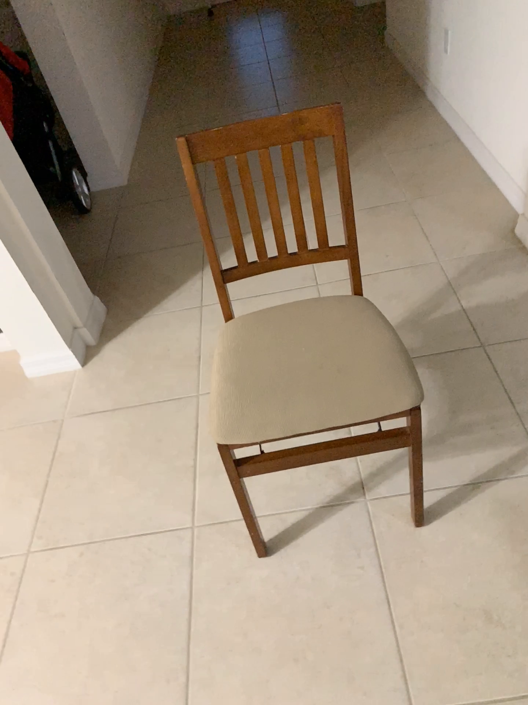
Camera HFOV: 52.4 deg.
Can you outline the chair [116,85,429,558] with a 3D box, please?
[{"bbox_3d":[0.070,-0.028,1.274,0.450,0.881,0.596,-11,43,5],"label":"chair"}]
